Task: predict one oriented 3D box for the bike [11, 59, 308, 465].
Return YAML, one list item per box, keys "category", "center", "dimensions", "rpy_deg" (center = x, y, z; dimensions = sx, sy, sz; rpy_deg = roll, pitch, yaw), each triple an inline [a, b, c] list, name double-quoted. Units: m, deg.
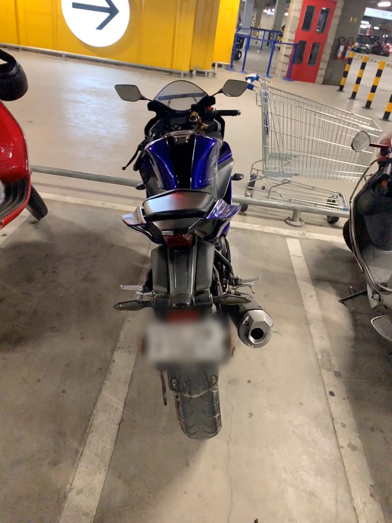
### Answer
- category: "bike"
  center: [-0.294, -0.191, 1.826]
  dimensions: [0.687, 0.933, 1.657]
  rpy_deg: [1, 35, -12]
